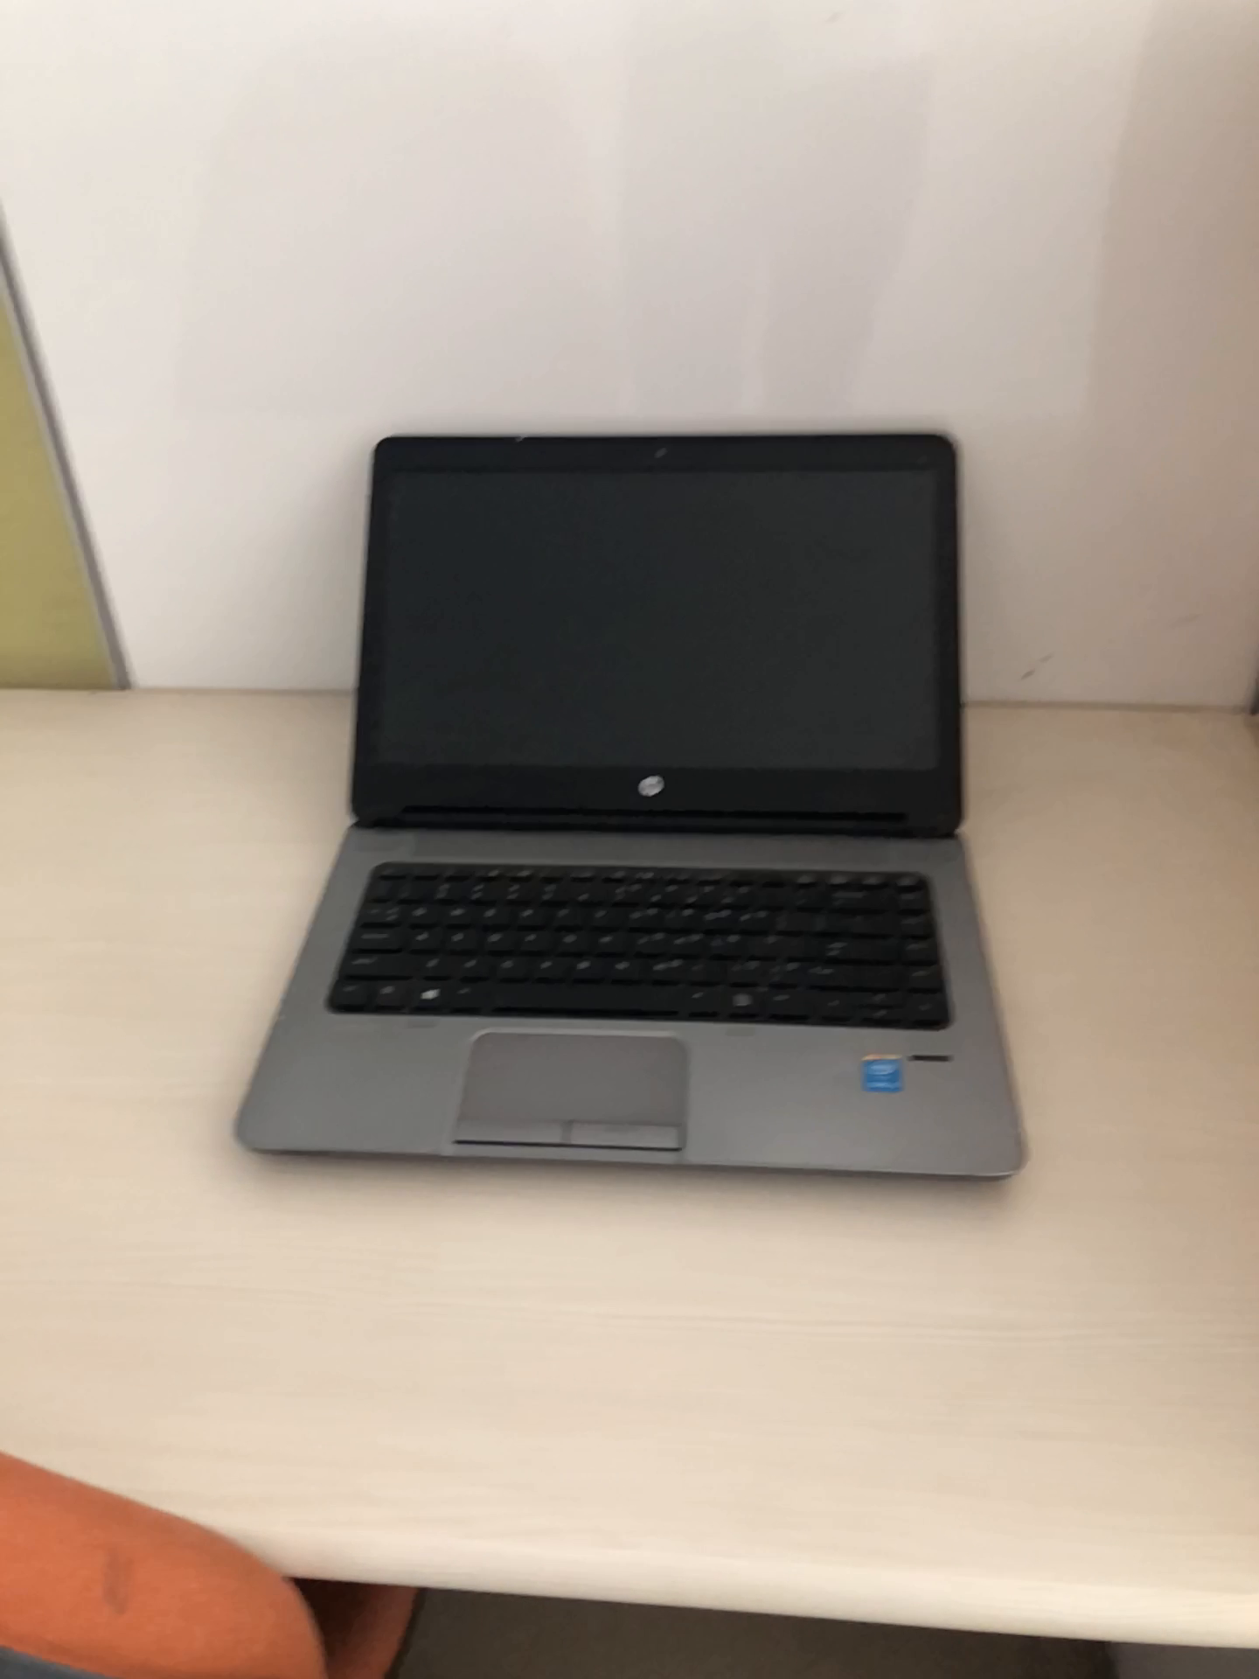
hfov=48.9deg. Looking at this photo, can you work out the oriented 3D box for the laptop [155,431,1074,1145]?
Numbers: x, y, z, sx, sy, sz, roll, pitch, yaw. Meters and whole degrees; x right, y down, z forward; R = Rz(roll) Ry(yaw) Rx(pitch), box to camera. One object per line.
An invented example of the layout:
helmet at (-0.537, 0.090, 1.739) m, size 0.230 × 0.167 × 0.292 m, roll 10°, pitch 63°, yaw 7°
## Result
laptop at (0.007, -0.055, 0.676) m, size 0.322 × 0.148 × 0.380 m, roll 1°, pitch 37°, yaw 5°
